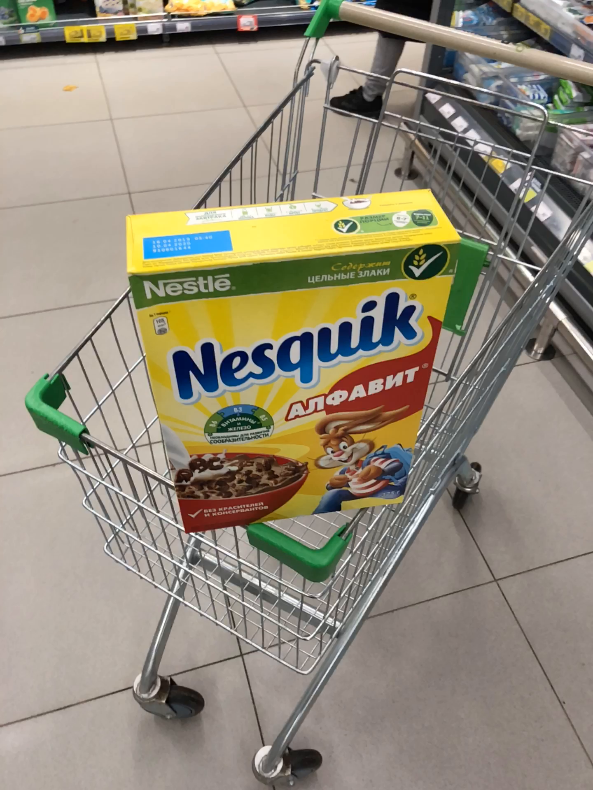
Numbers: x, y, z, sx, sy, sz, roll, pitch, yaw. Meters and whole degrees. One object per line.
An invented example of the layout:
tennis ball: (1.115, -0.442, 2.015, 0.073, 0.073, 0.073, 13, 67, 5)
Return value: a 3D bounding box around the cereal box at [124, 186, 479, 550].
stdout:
cereal box: (-0.002, -0.001, 0.487, 0.200, 0.289, 0.060, -8, 48, -10)
